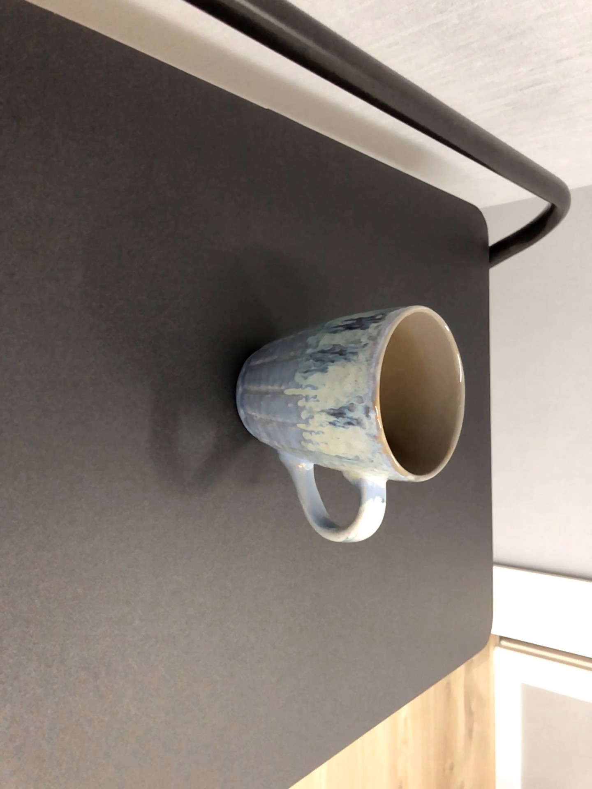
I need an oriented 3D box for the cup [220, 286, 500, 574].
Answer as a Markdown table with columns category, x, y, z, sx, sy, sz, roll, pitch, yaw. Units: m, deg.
| category | x | y | z | sx | sy | sz | roll | pitch | yaw |
| --- | --- | --- | --- | --- | --- | --- | --- | --- | --- |
| cup | 0.034 | 0.021 | 0.340 | 0.090 | 0.107 | 0.120 | 11 | 80 | -48 |
